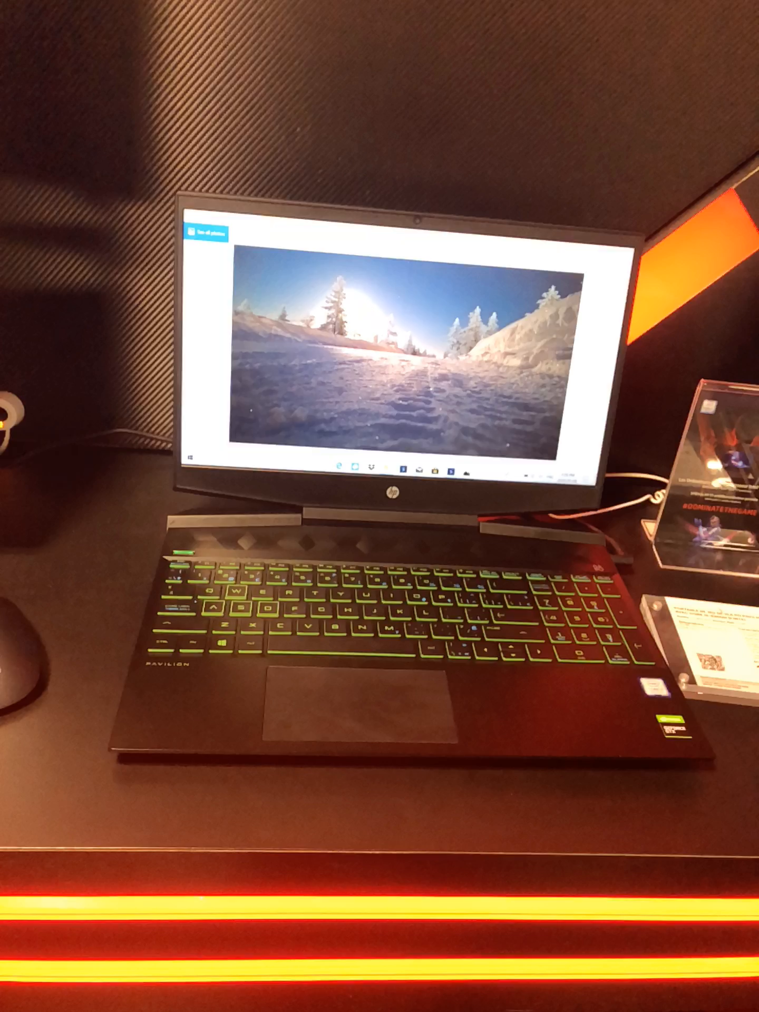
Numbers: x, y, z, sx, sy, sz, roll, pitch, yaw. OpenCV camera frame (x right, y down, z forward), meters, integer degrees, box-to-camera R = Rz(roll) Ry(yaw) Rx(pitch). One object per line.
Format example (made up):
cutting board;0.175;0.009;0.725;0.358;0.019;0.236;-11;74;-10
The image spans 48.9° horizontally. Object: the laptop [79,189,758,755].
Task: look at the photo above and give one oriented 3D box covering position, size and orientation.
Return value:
laptop;0.027;-0.045;0.566;0.355;0.240;0.316;2;29;-5
